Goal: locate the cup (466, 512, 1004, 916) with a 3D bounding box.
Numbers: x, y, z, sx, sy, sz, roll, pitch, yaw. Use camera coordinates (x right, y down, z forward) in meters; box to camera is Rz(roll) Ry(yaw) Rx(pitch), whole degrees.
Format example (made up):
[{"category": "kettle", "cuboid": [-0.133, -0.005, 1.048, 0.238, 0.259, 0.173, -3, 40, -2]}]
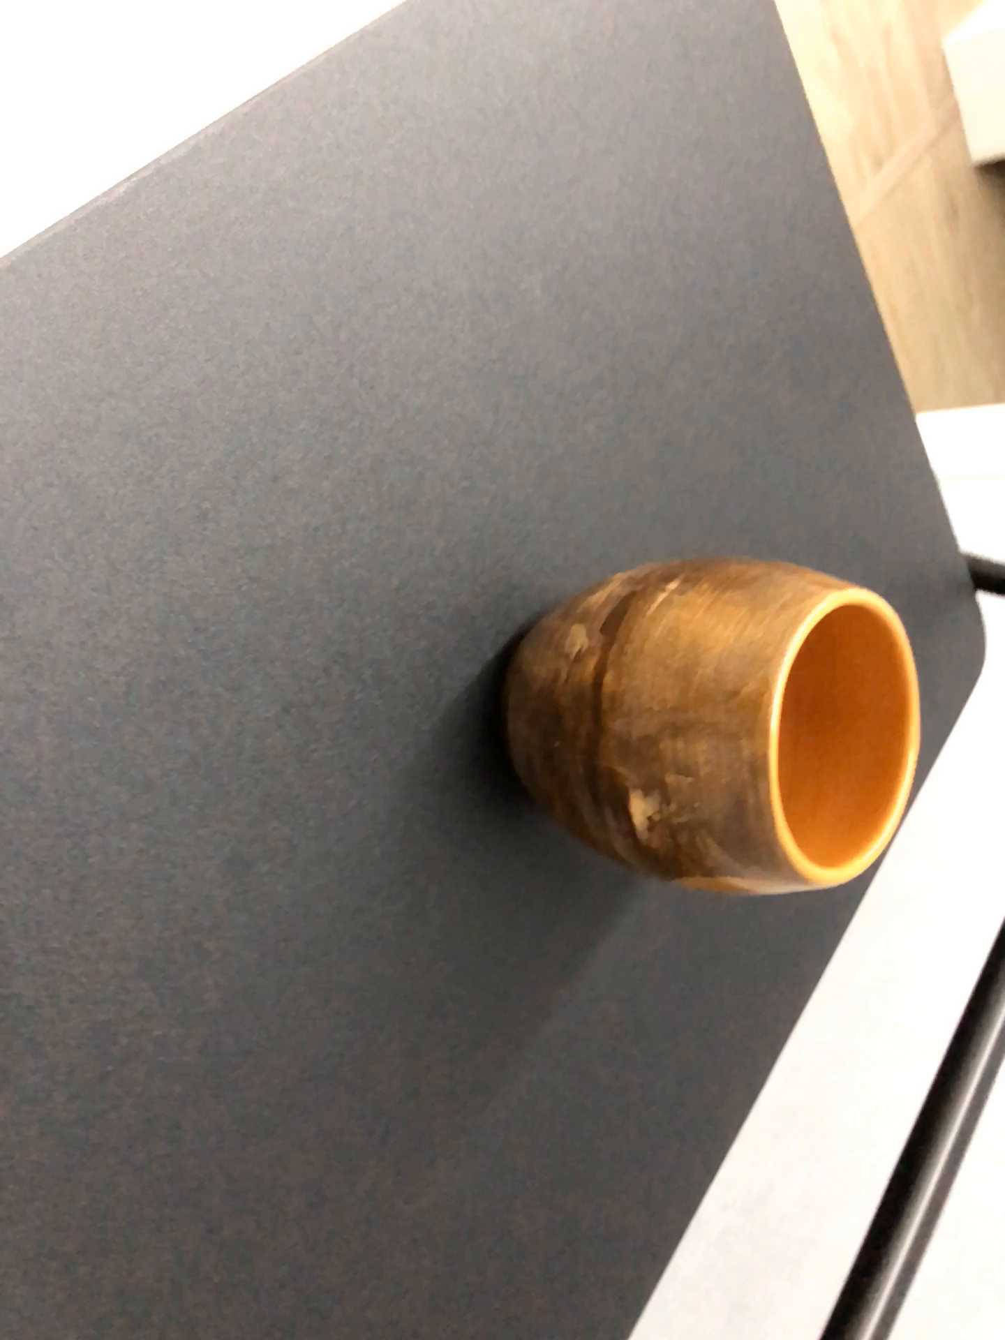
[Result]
[{"category": "cup", "cuboid": [0.074, 0.015, 0.331, 0.132, 0.092, 0.092, 10, 87, -44]}]
